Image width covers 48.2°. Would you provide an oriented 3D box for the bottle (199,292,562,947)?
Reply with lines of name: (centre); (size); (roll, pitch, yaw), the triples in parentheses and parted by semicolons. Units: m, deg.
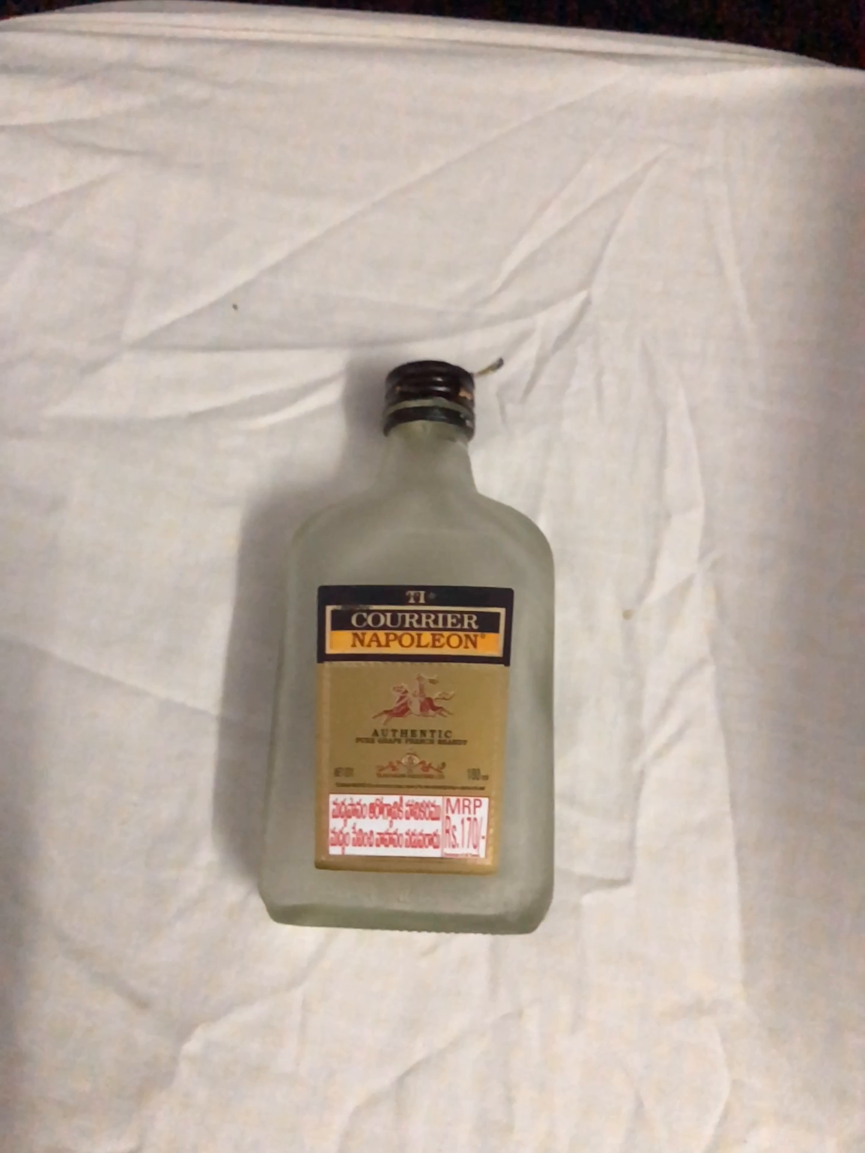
bottle: (-0.008, 0.008, 0.254); (0.080, 0.040, 0.160); (2, 75, 1)
